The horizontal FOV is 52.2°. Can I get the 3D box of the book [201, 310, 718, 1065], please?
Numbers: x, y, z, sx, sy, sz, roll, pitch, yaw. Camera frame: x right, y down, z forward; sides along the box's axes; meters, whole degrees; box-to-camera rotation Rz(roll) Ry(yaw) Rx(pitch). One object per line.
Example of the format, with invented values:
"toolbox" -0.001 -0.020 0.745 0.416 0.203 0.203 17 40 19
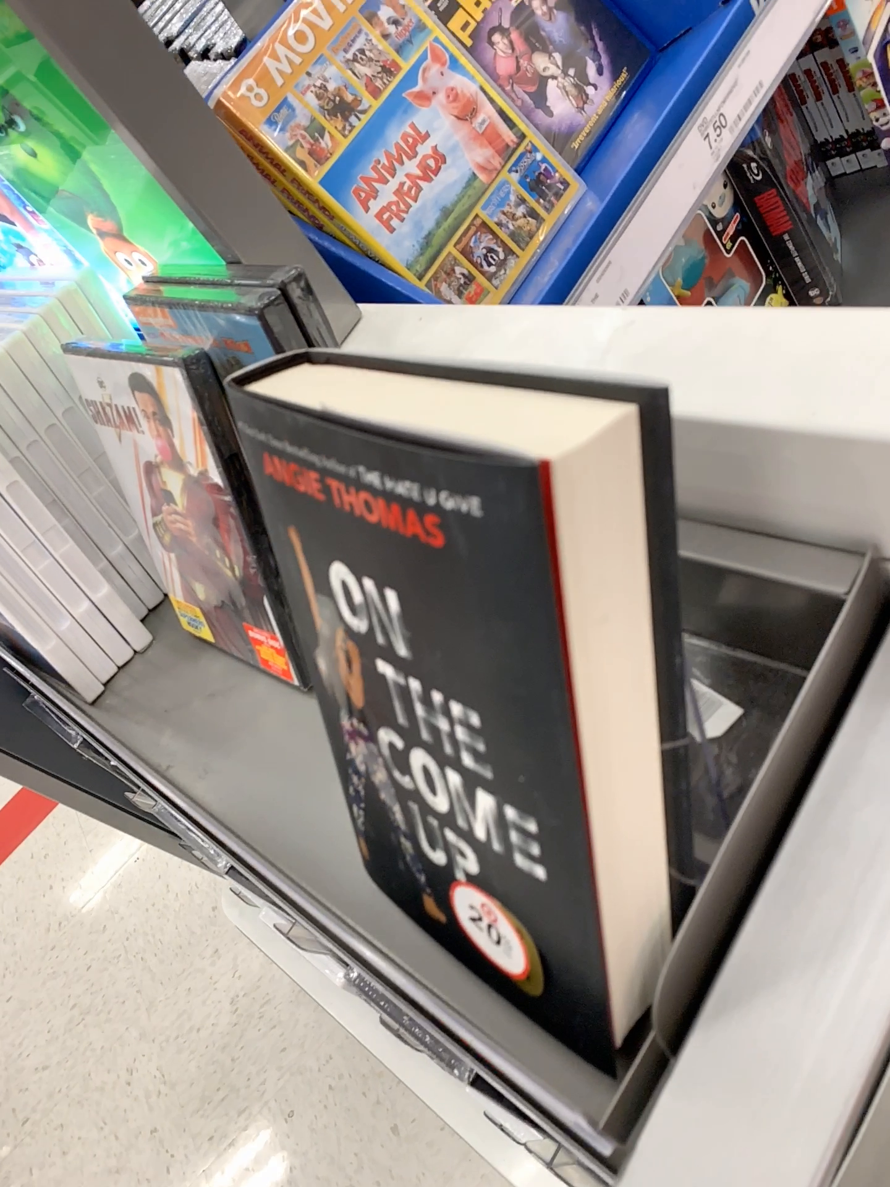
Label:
"book" 0.010 0.026 0.310 0.056 0.222 0.149 -31 34 -32
